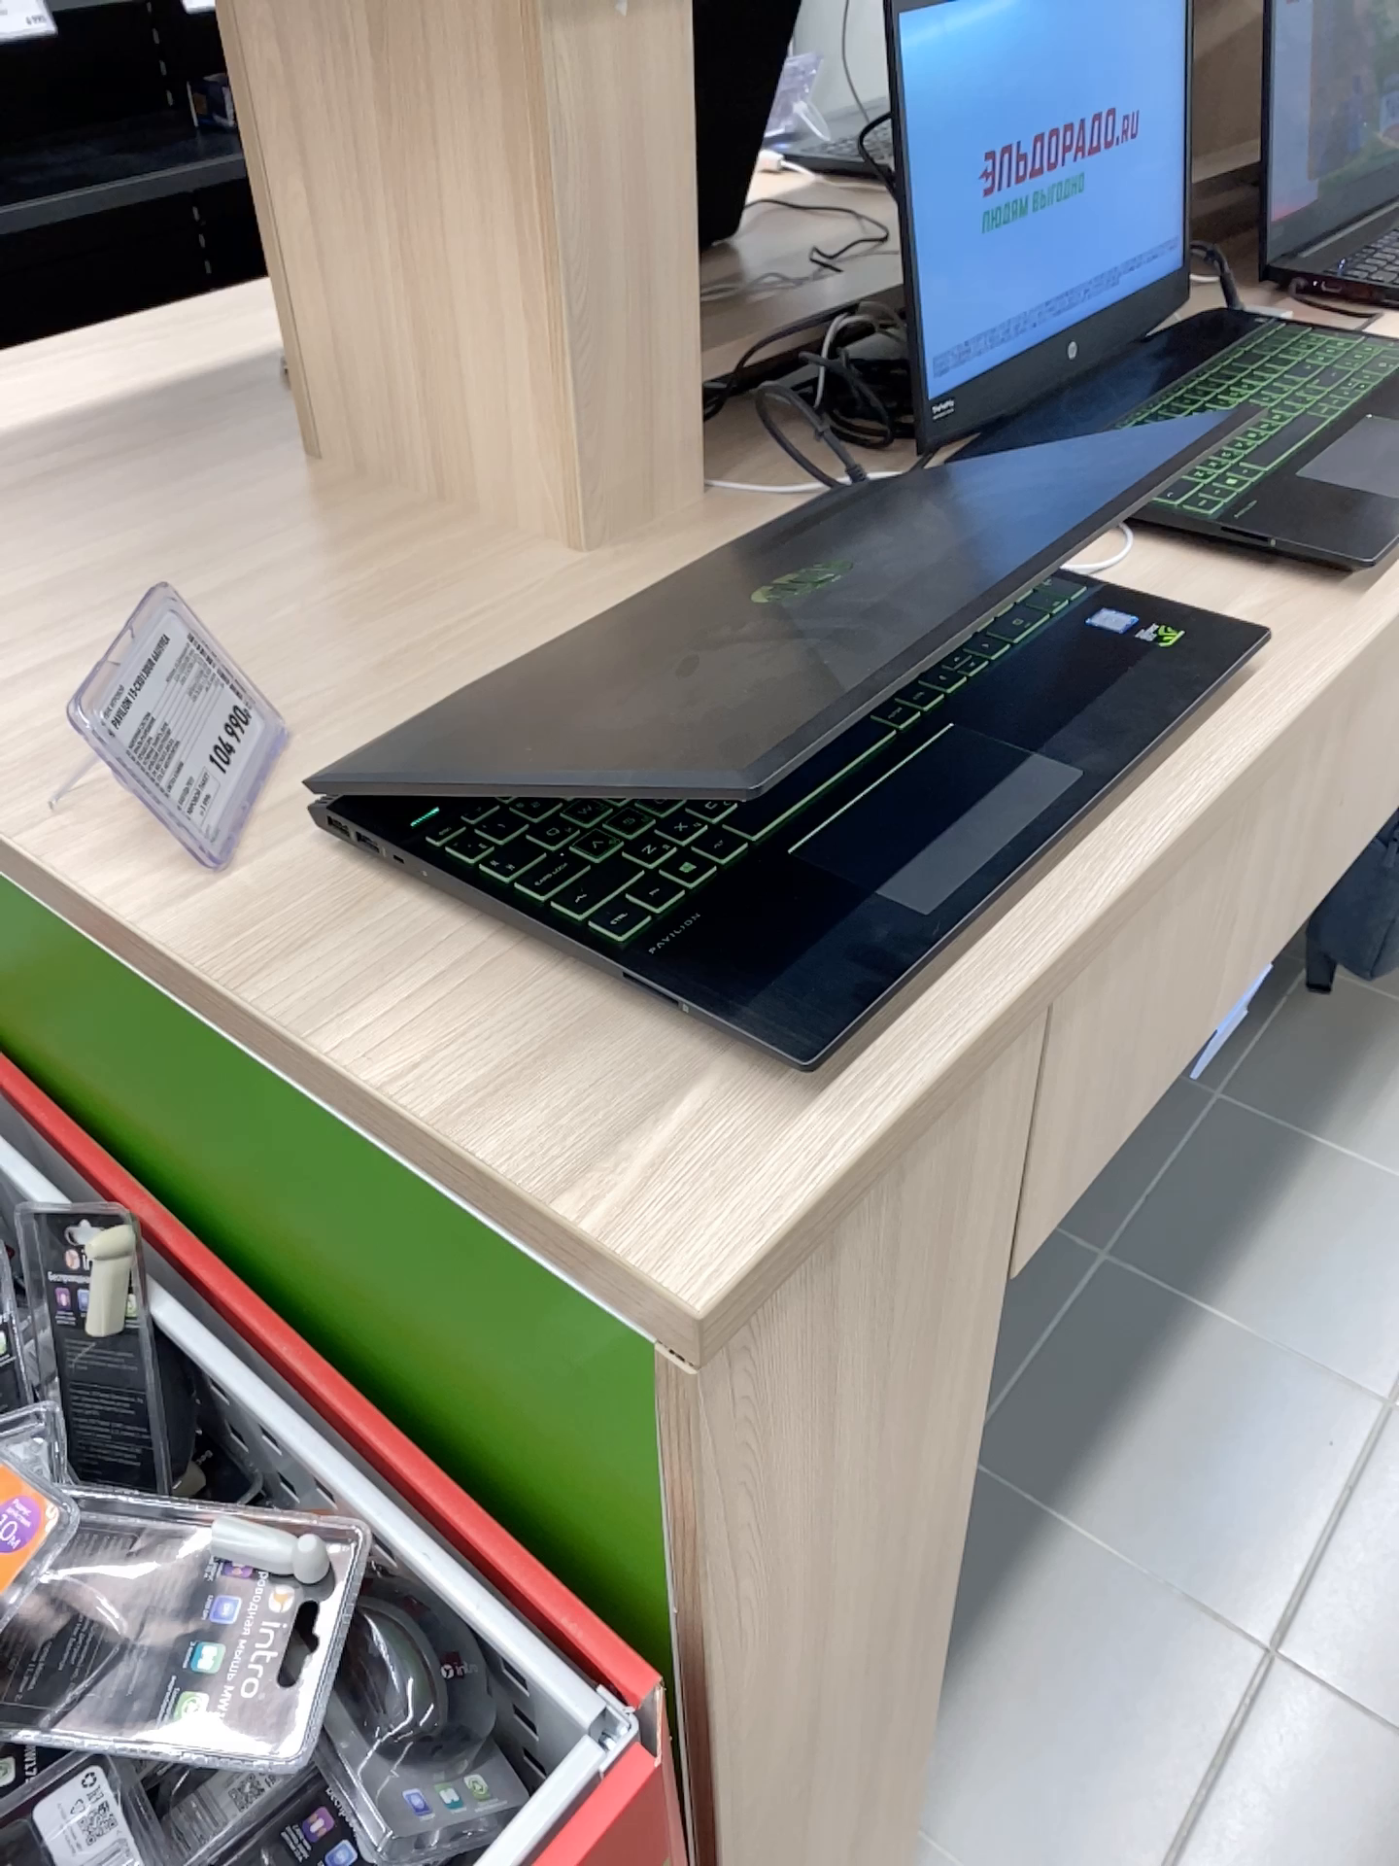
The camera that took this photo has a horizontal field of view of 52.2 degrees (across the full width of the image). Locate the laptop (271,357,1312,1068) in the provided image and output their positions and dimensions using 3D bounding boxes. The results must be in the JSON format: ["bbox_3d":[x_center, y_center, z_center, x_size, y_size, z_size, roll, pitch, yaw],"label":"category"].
[{"bbox_3d":[0.056,-0.127,0.593,0.241,0.086,0.366,27,46,30],"label":"laptop"}]
